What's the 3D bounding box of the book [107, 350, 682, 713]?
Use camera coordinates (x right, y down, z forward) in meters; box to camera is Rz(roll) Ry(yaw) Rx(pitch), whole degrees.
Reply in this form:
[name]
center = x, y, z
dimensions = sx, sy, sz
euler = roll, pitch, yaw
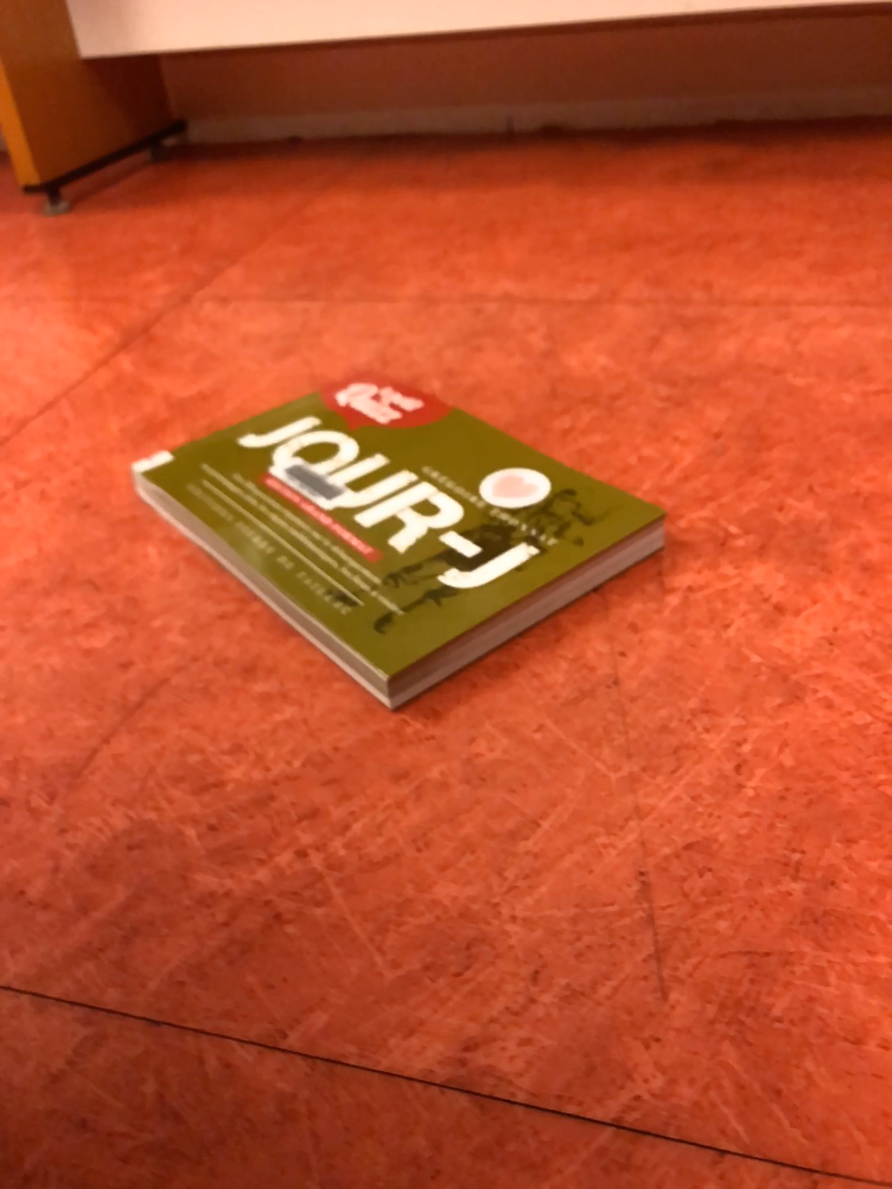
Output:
[book]
center = -0.031, -0.044, 0.421
dimensions = 0.137, 0.016, 0.218
euler = -29, 44, -29
